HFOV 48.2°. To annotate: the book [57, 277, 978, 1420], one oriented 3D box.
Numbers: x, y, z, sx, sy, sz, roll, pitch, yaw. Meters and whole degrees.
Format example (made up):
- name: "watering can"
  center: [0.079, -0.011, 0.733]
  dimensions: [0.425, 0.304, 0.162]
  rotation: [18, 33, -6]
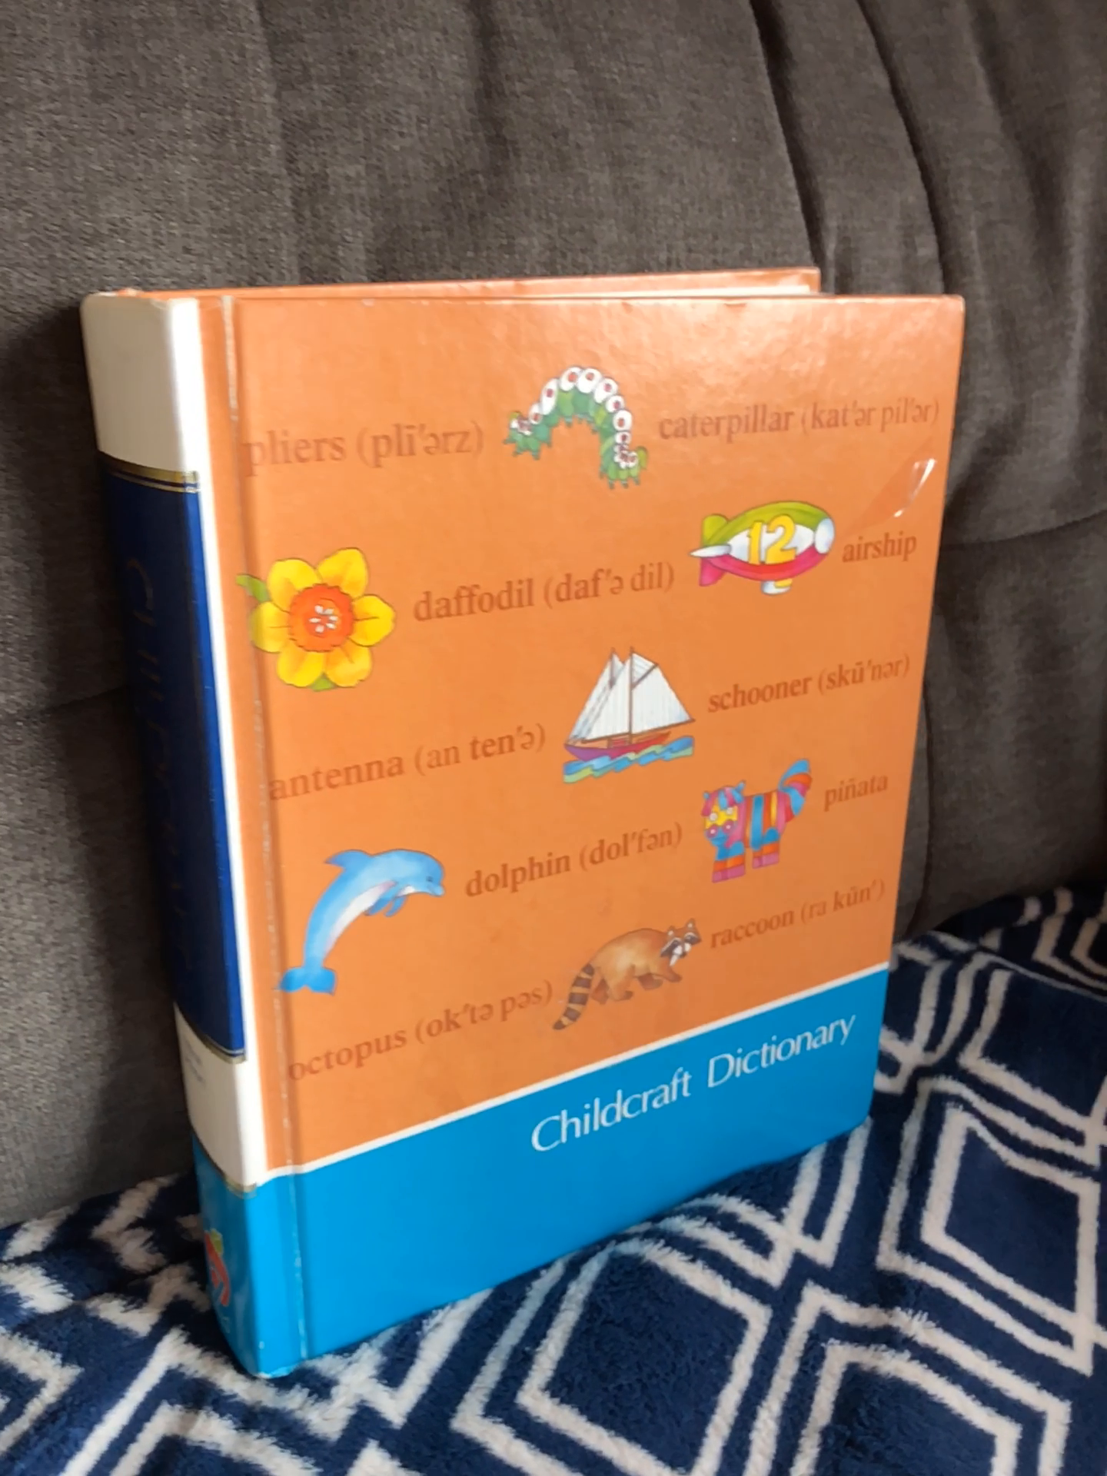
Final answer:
- name: "book"
  center: [0.001, 0.017, 0.328]
  dimensions: [0.210, 0.260, 0.055]
  rotation: [-12, 24, -29]
